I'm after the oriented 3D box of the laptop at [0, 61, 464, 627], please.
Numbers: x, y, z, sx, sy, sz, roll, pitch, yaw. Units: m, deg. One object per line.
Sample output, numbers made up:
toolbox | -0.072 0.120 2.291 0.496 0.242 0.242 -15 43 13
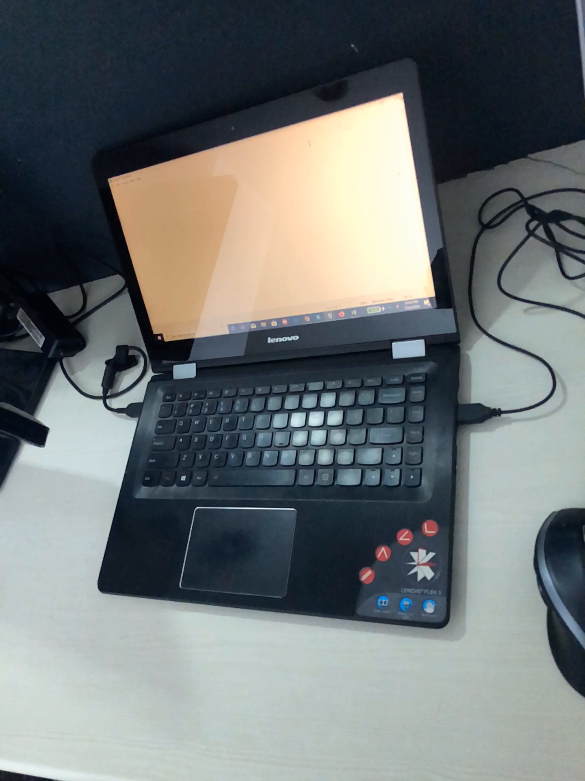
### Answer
laptop | -0.047 -0.031 0.548 0.335 0.171 0.386 -4 61 27
